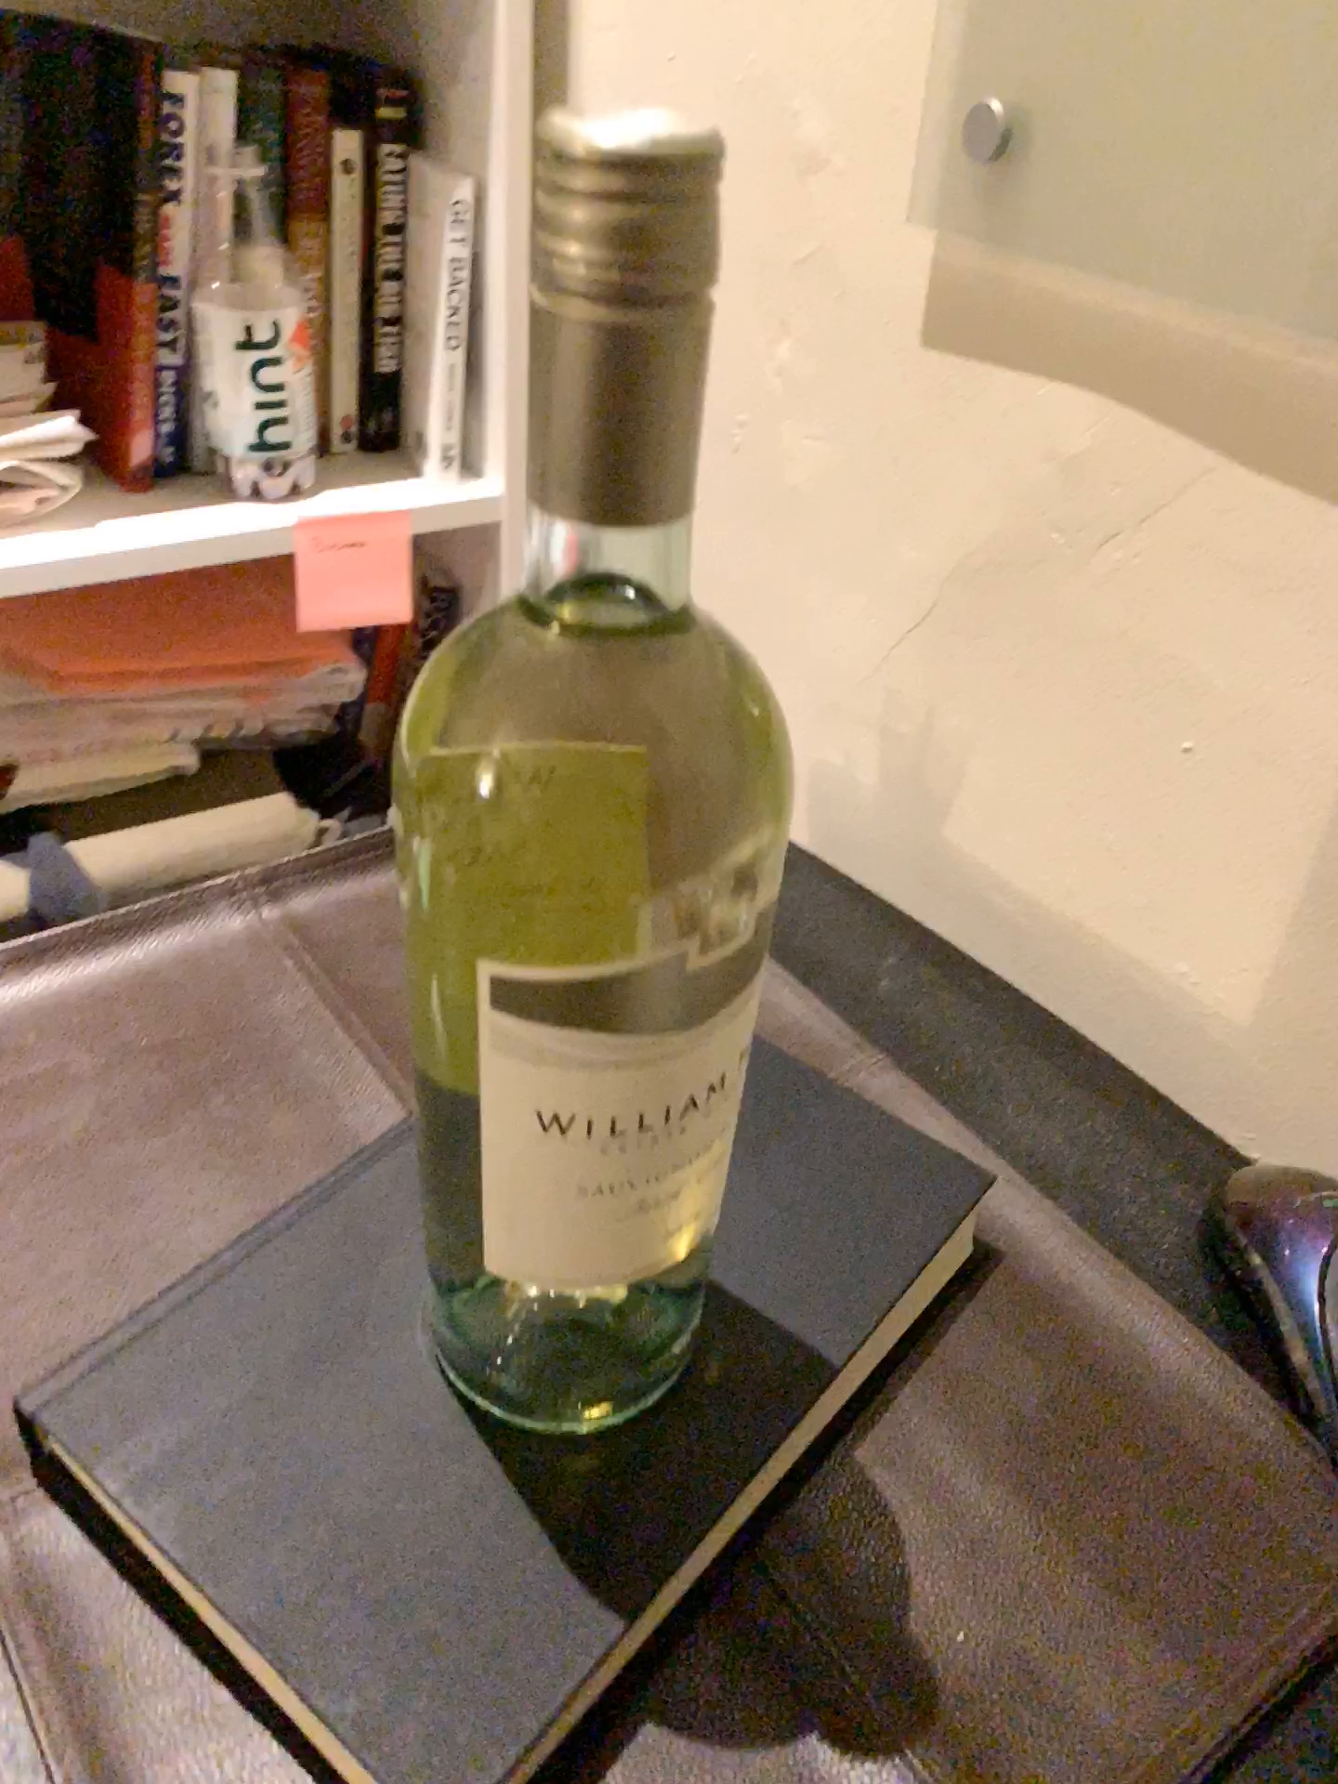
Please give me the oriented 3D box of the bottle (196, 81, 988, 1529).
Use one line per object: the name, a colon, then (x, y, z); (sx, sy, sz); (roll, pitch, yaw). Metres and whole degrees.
bottle: (-0.022, -0.001, 0.305); (0.090, 0.298, 0.090); (3, 35, -2)
